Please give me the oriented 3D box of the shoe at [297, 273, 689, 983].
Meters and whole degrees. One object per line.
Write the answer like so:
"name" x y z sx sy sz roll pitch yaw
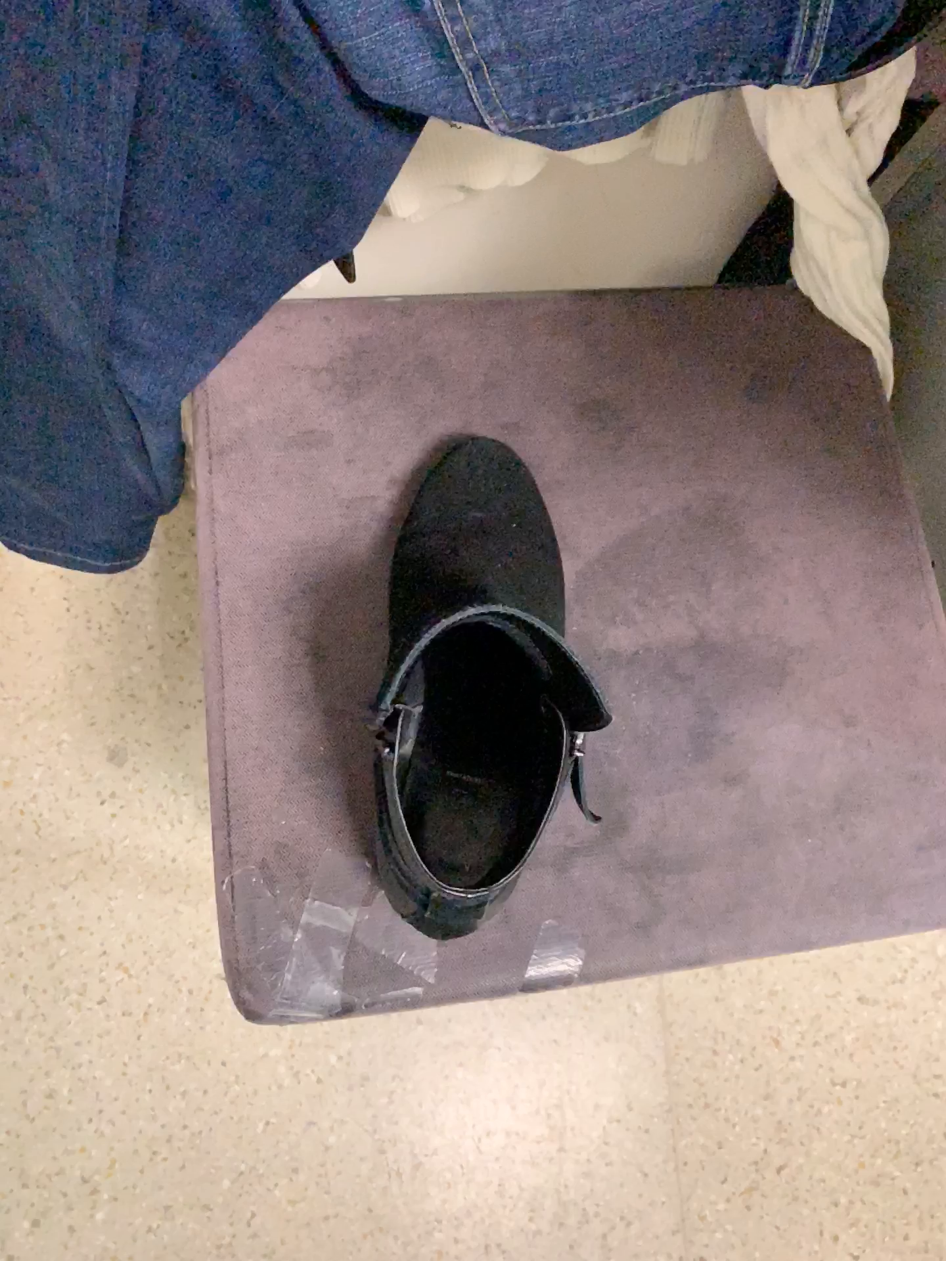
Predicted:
"shoe" 0.006 0.004 0.439 0.105 0.136 0.266 13 74 -5
